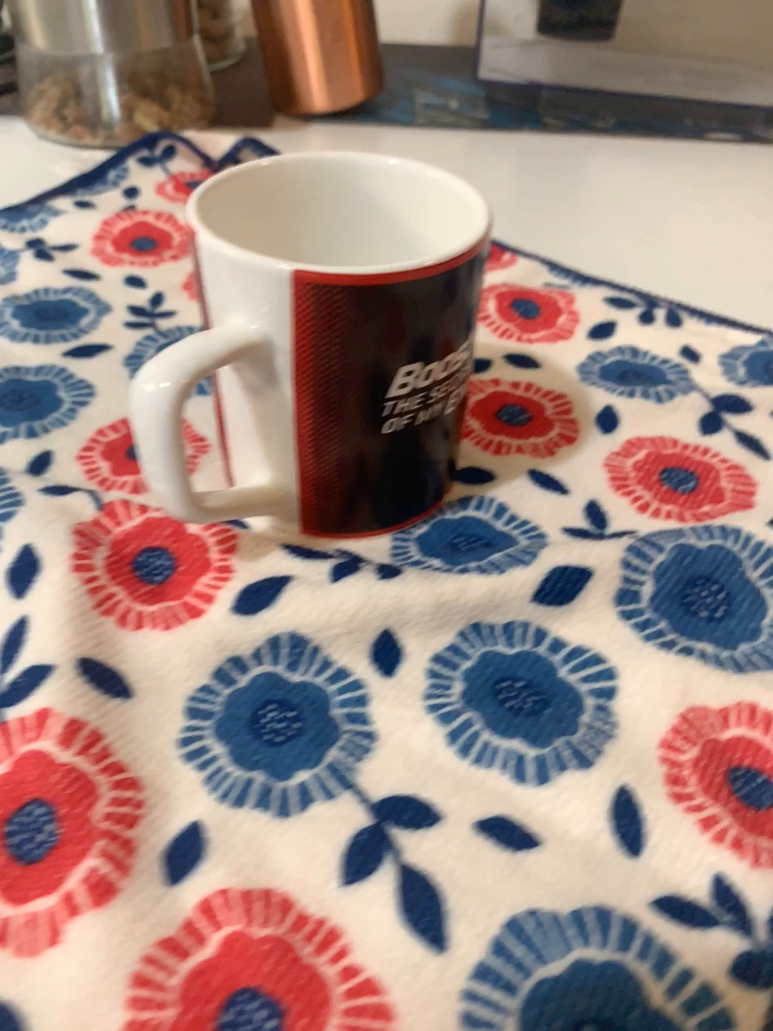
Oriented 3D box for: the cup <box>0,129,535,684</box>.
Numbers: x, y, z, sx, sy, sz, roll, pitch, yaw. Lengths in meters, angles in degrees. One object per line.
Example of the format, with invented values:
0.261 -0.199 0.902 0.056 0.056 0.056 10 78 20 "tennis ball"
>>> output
-0.026 -0.037 0.223 0.080 0.089 0.111 24 45 22 "cup"
